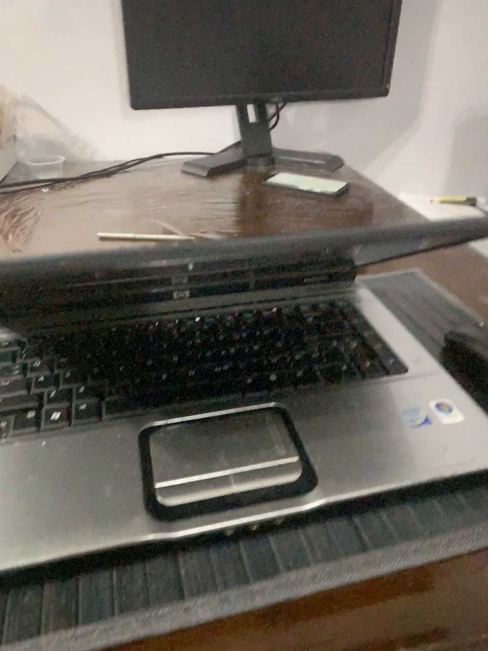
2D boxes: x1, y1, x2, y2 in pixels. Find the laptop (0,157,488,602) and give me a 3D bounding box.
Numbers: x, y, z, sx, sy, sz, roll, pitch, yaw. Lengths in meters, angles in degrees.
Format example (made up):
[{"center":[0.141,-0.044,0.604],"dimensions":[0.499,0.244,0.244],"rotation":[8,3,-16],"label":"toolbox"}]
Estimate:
[{"center":[-0.022,-0.015,0.333],"dimensions":[0.343,0.108,0.245],"rotation":[-7,35,-15],"label":"laptop"}]
